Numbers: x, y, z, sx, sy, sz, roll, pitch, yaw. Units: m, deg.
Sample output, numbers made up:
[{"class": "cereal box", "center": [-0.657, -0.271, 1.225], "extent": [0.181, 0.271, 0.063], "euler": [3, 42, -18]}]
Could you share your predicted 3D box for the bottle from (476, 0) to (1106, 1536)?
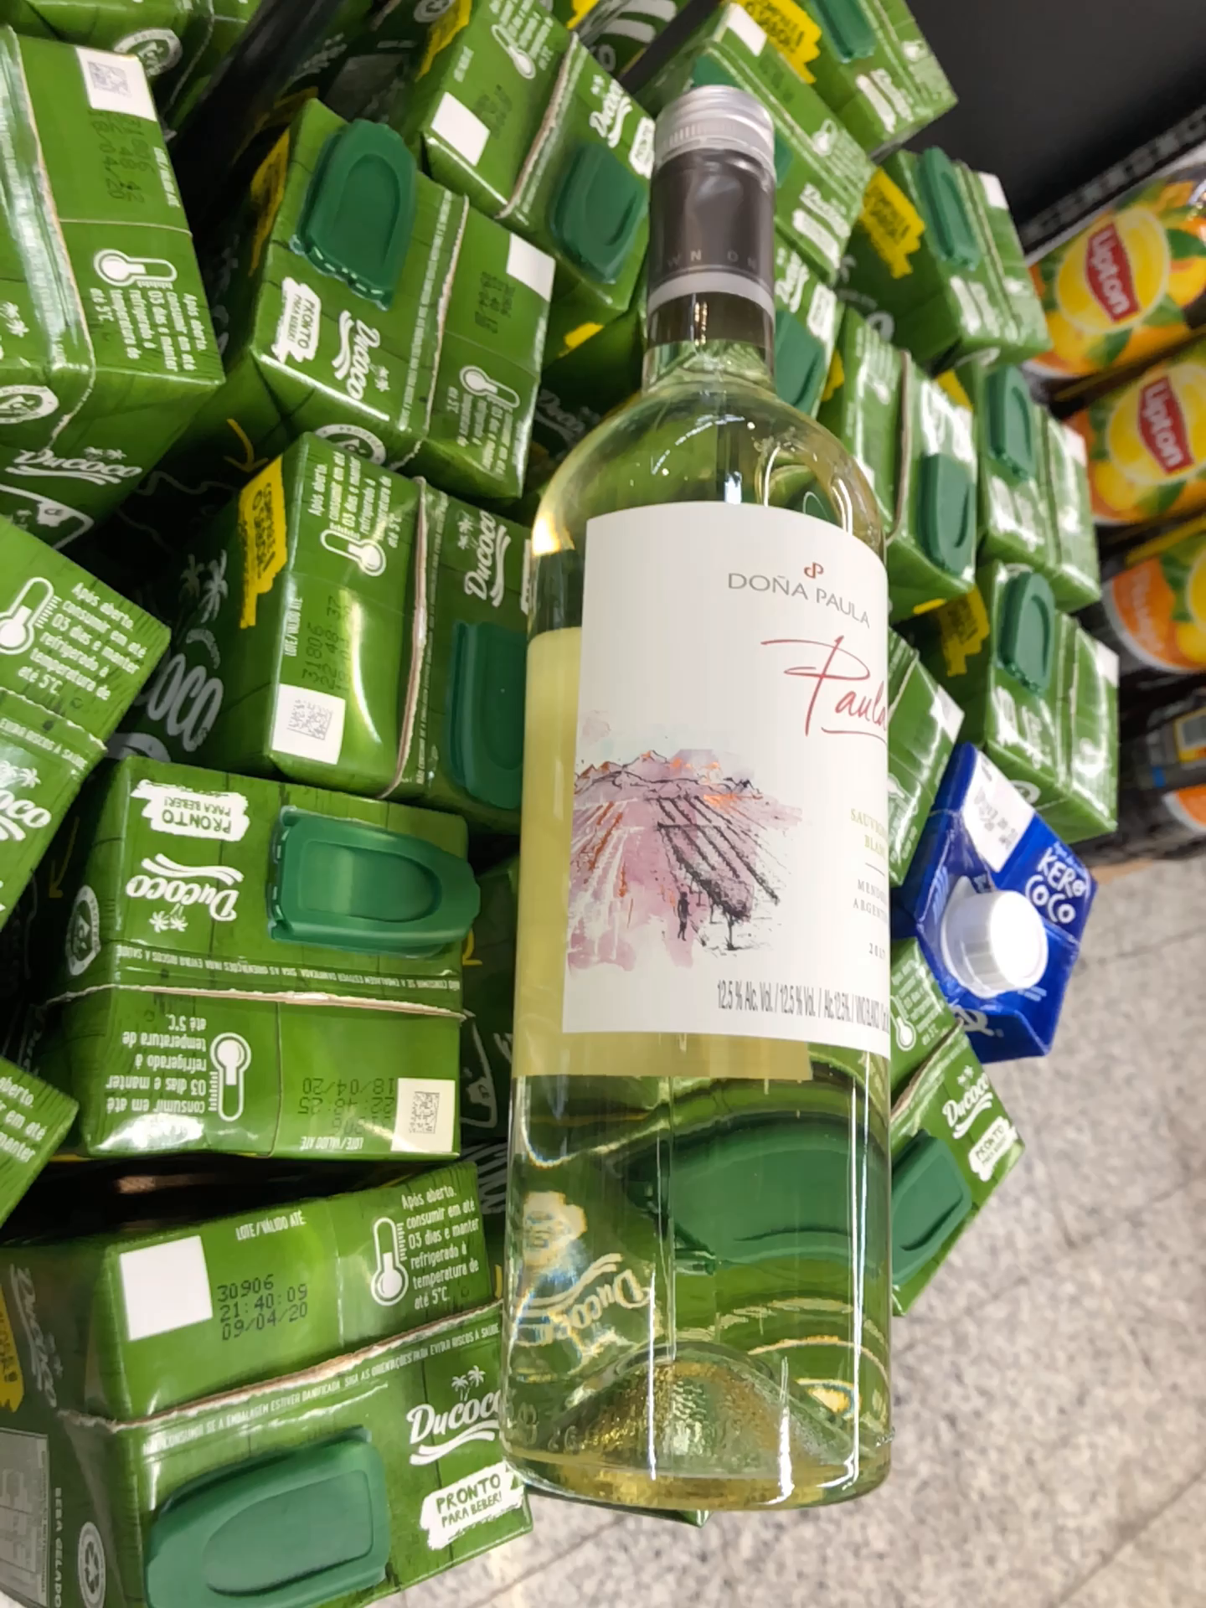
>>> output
[{"class": "bottle", "center": [0.032, -0.042, 0.282], "extent": [0.080, 0.070, 0.331], "euler": [15, 66, -36]}]
